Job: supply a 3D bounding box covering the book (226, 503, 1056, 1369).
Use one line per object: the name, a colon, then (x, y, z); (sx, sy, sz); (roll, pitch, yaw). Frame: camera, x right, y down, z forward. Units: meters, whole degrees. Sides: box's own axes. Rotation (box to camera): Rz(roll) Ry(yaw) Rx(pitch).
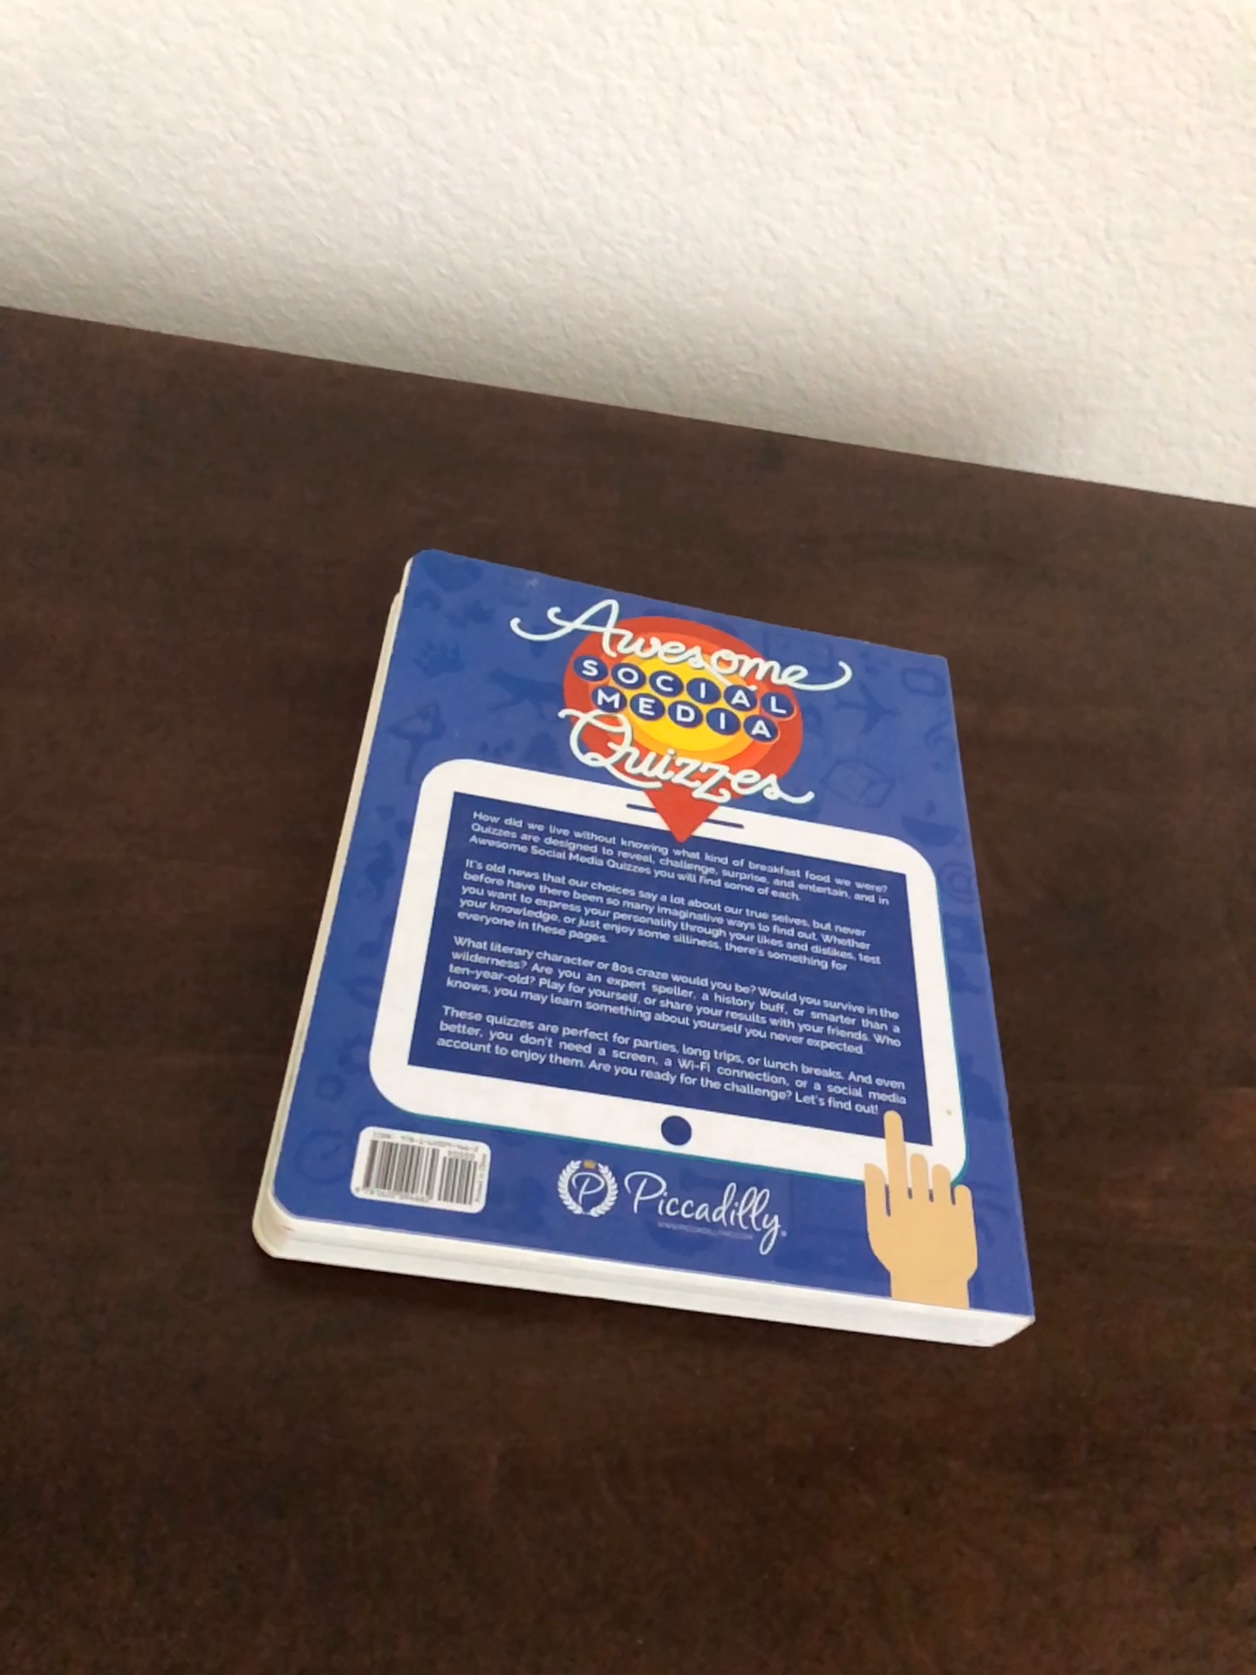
book: (0.008, 0.013, 0.359); (0.173, 0.030, 0.215); (10, 52, -10)
